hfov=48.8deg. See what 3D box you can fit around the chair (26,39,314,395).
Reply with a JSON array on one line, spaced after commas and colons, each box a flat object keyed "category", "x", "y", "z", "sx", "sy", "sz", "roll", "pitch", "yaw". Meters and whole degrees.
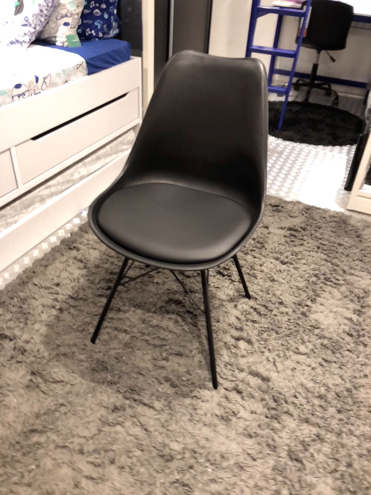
[{"category": "chair", "x": -0.018, "y": -0.111, "z": 1.227, "sx": 0.520, "sy": 0.804, "sz": 0.534, "roll": 17, "pitch": 38, "yaw": 18}]
